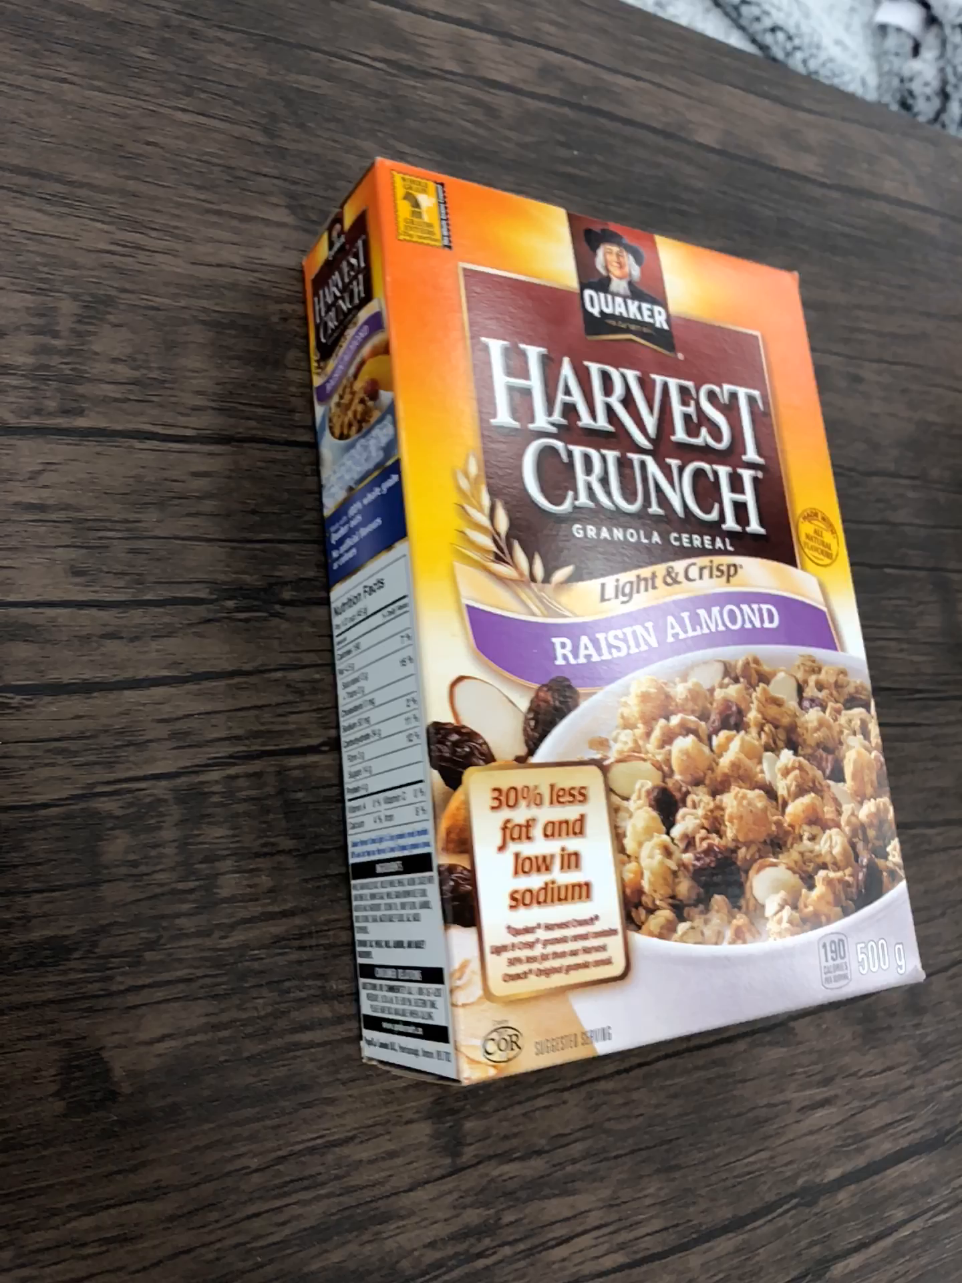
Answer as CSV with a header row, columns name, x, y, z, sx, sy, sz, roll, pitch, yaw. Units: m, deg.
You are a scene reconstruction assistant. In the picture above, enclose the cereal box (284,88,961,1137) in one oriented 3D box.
name,x,y,z,sx,sy,sz,roll,pitch,yaw
cereal box,0.047,-0.010,0.298,0.181,0.050,0.230,2,77,-32
